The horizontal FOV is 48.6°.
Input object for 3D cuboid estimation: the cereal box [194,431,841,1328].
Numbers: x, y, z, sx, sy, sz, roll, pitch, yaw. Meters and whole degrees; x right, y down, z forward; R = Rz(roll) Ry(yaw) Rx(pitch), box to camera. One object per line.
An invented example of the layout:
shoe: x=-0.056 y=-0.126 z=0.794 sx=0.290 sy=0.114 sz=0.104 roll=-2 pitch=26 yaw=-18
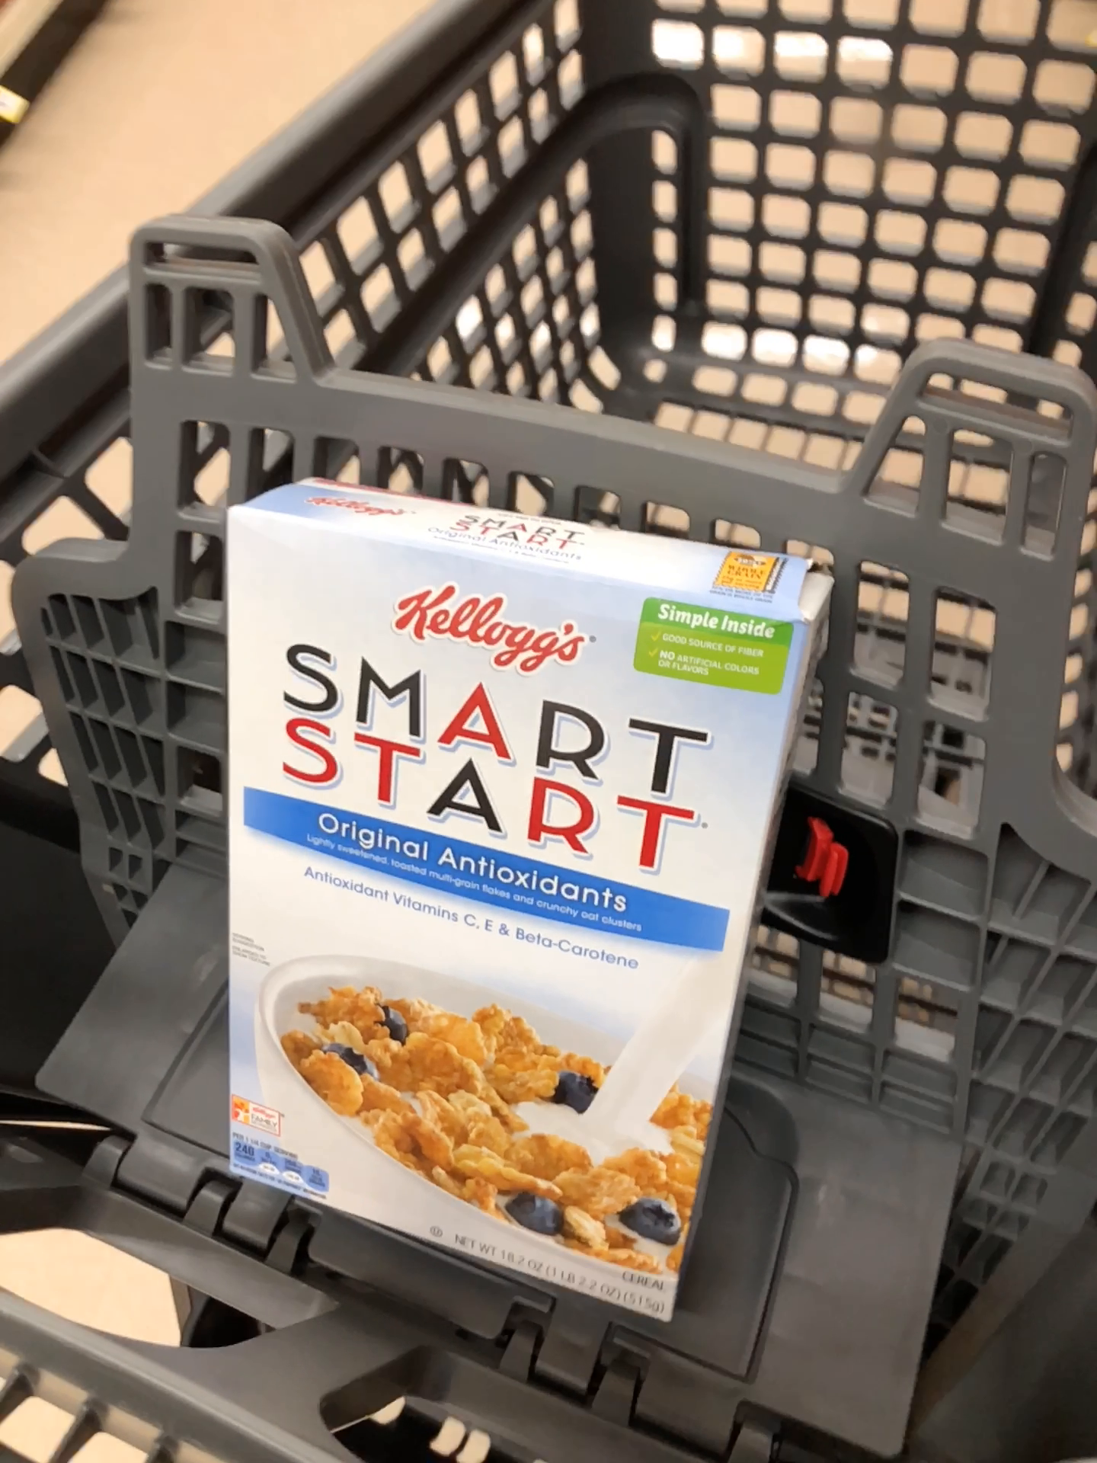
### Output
cereal box: x=-0.023 y=0.058 z=0.459 sx=0.200 sy=0.300 sz=0.070 roll=13 pitch=25 yaw=15
